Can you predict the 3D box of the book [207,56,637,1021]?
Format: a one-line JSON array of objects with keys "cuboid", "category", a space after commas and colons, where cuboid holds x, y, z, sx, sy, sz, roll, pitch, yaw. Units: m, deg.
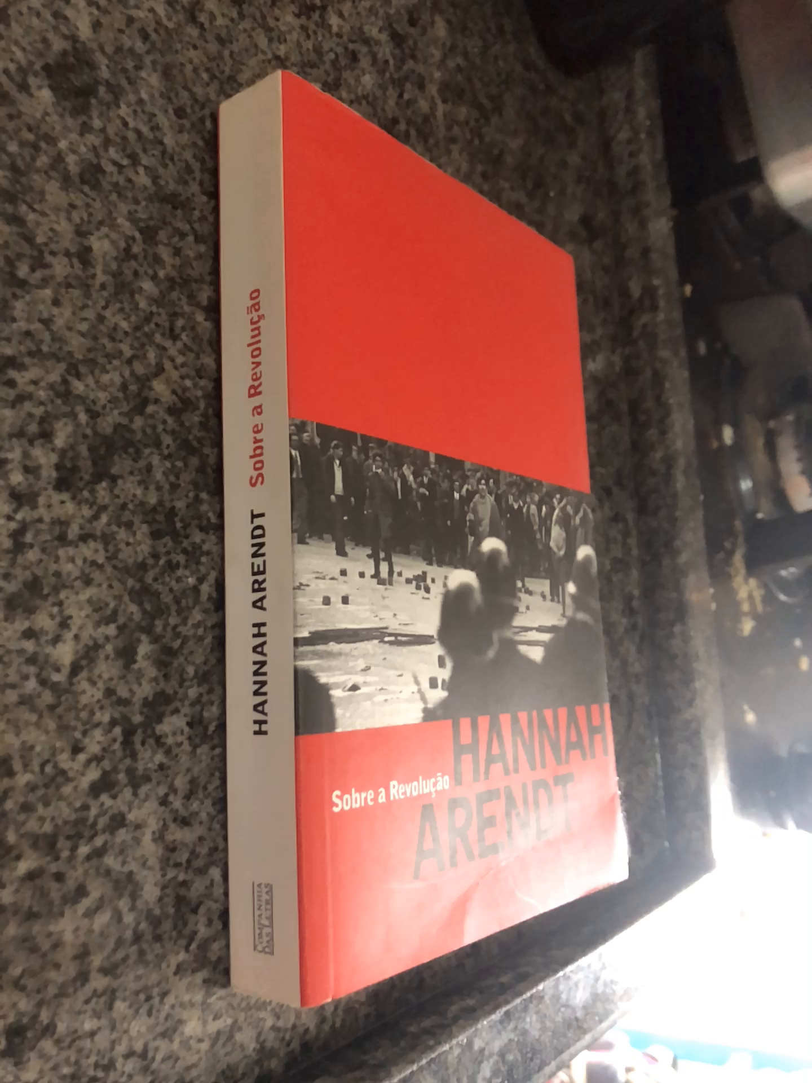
[{"cuboid": [0.012, -0.001, 0.260, 0.146, 0.030, 0.210, 8, 77, -50], "category": "book"}]
